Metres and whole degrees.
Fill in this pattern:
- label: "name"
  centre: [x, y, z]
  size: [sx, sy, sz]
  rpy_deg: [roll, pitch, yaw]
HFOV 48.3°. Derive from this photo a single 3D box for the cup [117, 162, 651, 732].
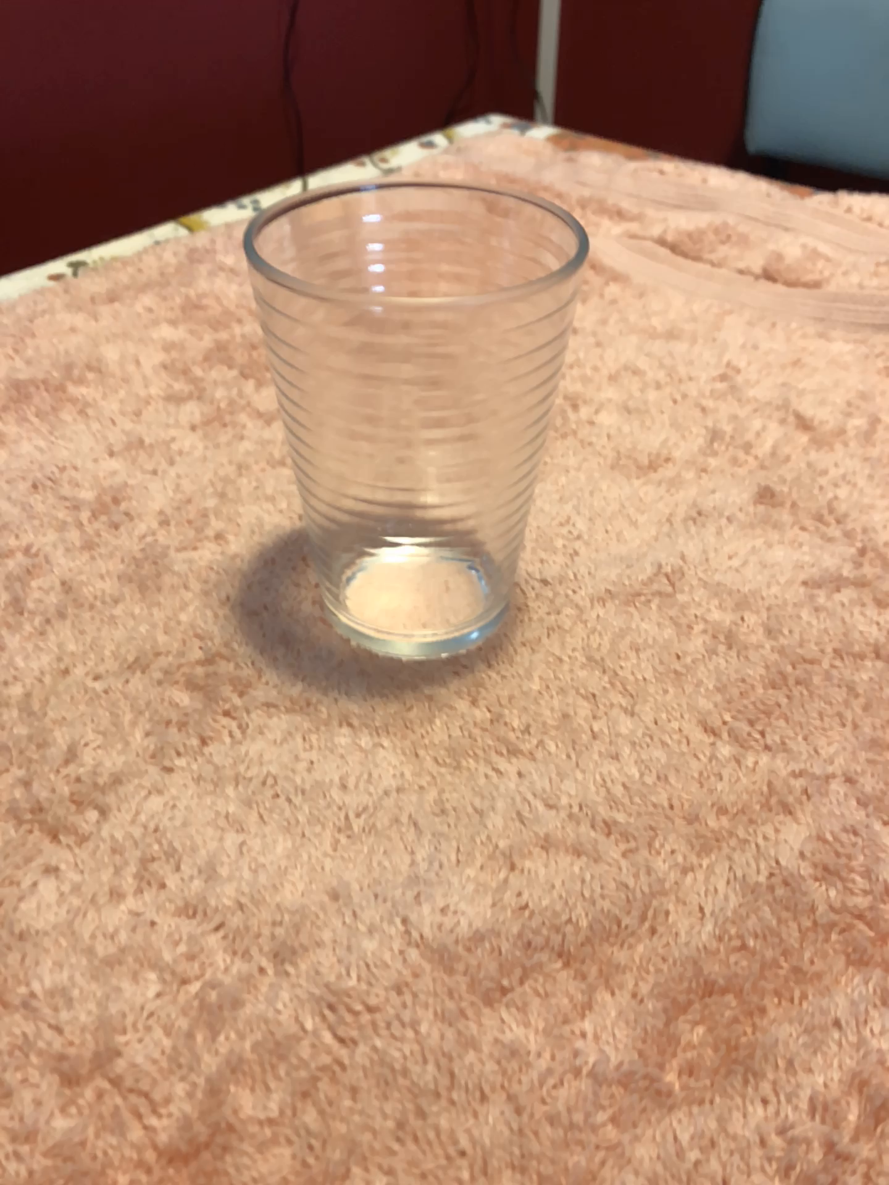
- label: "cup"
  centre: [-0.010, -0.039, 0.235]
  size: [0.080, 0.089, 0.080]
  rpy_deg: [0, 39, 0]
